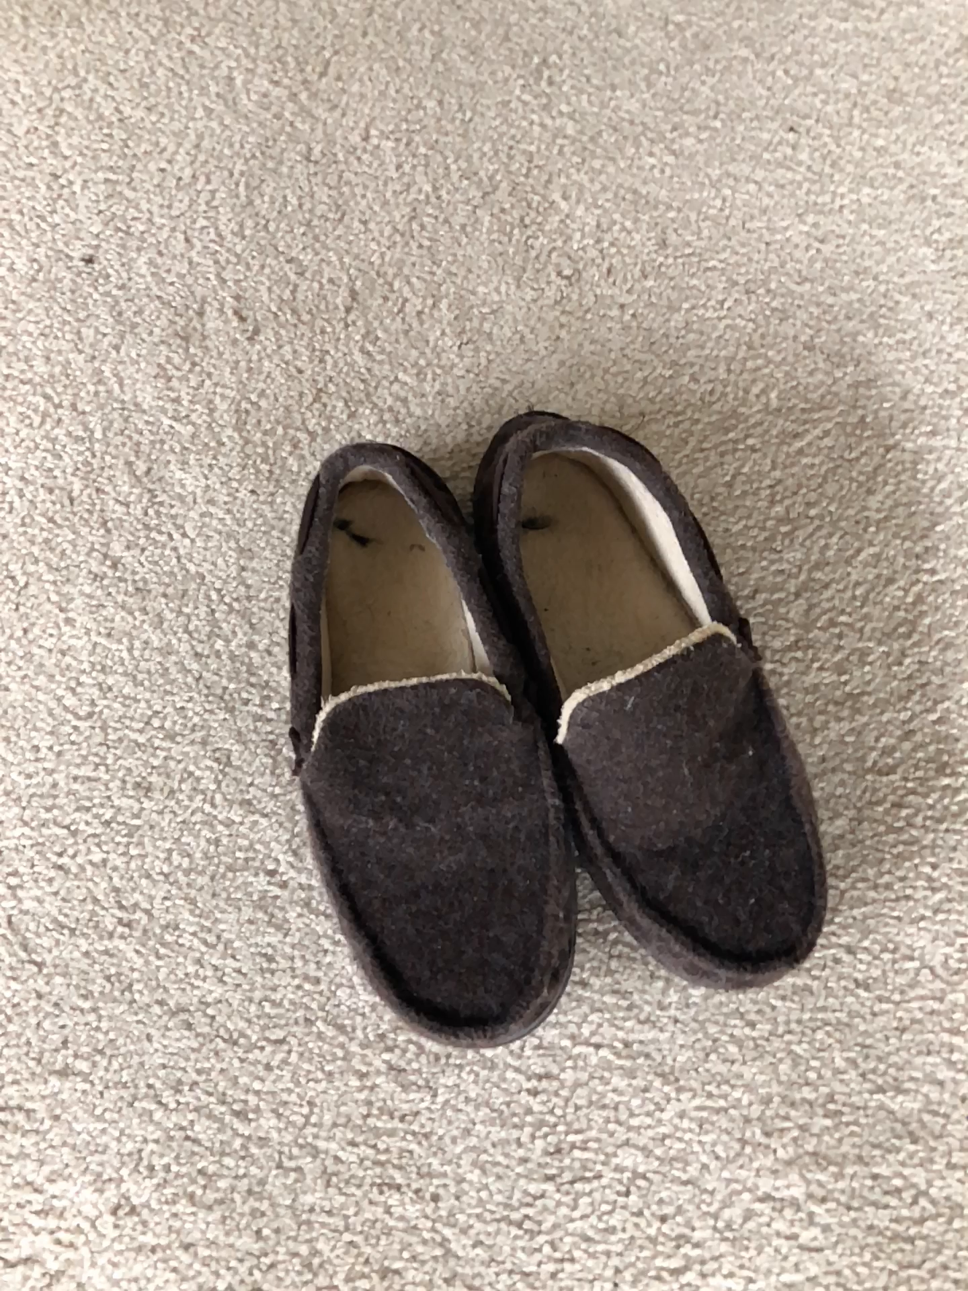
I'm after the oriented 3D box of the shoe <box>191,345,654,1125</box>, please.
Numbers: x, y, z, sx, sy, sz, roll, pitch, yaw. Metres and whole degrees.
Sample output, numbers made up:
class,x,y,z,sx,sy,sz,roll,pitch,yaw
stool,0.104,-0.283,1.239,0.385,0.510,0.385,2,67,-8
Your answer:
class,x,y,z,sx,sy,sz,roll,pitch,yaw
shoe,-0.033,0.035,0.504,0.120,0.096,0.317,-16,78,-3

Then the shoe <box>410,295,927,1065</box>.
class,x,y,z,sx,sy,sz,roll,pitch,yaw
shoe,0.073,0.012,0.503,0.118,0.096,0.316,-18,78,-3
